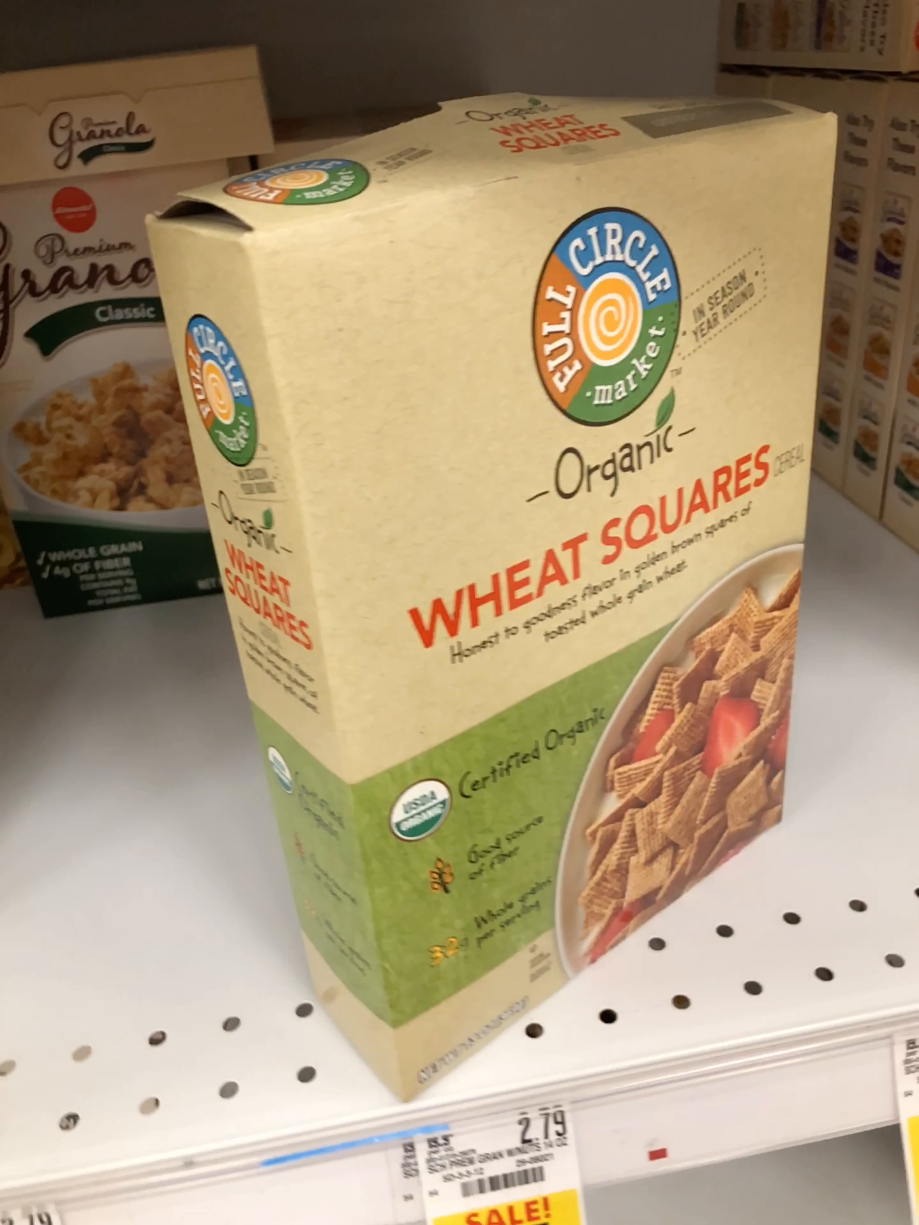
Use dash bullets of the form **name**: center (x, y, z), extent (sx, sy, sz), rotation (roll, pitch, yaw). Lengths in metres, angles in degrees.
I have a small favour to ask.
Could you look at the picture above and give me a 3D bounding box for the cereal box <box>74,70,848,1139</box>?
- **cereal box**: center (0.025, 0.000, 0.319), extent (0.200, 0.279, 0.050), rotation (-26, 36, -29)
